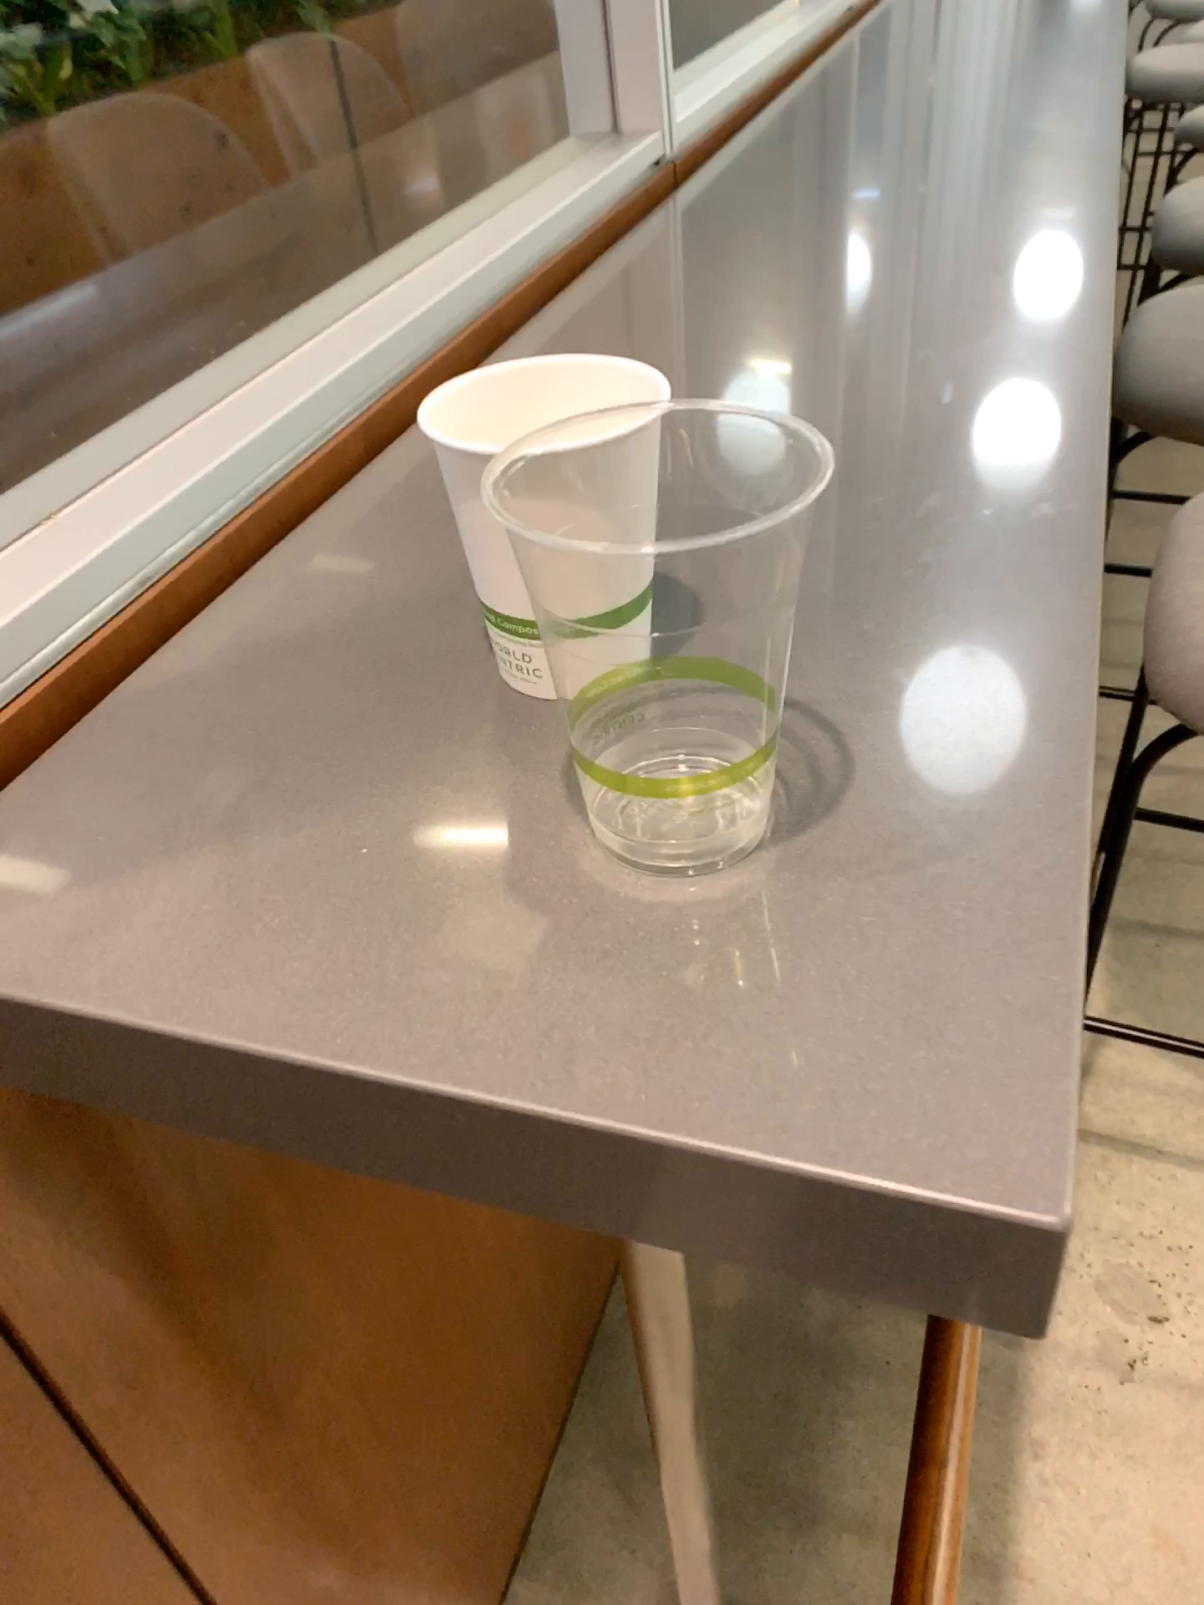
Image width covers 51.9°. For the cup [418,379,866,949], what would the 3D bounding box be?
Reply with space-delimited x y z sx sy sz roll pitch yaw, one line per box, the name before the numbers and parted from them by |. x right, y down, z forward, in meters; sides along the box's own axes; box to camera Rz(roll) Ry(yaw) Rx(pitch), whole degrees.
cup | 0.013 -0.043 0.366 0.090 0.119 0.091 -5 37 4

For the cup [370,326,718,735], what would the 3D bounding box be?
cup | -0.019 -0.105 0.469 0.090 0.109 0.080 -25 41 -22
